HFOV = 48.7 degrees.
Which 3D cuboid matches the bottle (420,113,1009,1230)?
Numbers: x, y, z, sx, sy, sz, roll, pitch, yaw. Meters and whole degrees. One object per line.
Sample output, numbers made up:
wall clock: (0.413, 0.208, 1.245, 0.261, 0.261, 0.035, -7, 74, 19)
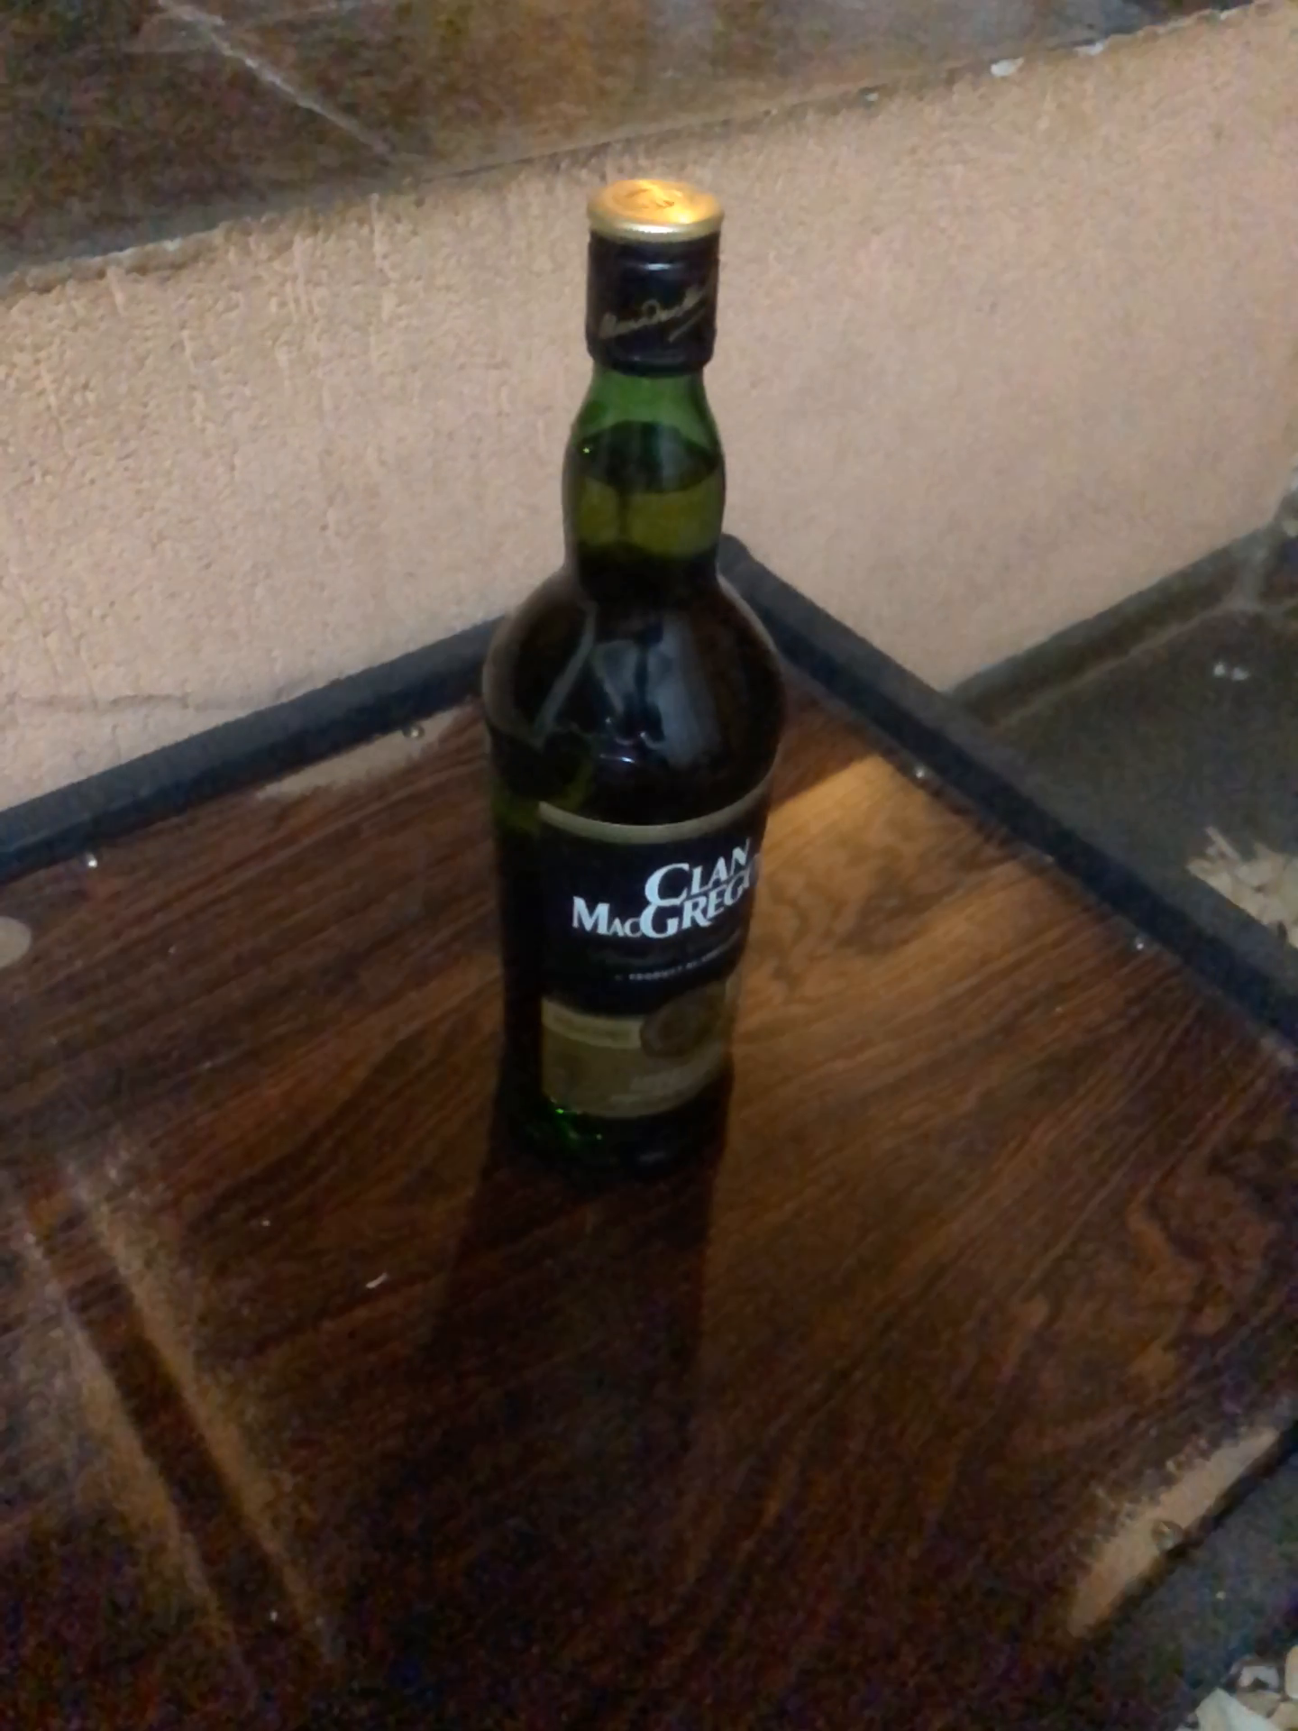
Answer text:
bottle: (0.004, -0.026, 0.401, 0.090, 0.308, 0.080, -21, 52, -22)
